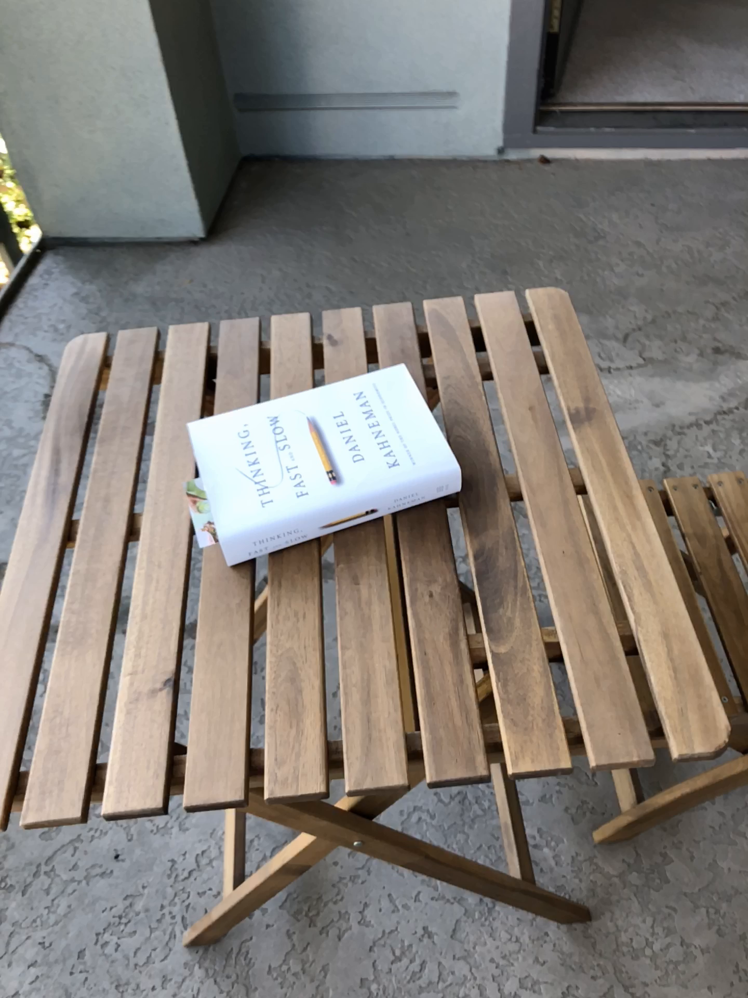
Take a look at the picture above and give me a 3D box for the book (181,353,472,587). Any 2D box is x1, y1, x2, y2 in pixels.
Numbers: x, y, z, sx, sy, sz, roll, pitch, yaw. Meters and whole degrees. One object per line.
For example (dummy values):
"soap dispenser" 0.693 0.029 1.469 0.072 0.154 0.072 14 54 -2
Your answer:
"book" -0.050 -0.037 0.827 0.240 0.060 0.181 -17 51 -10
